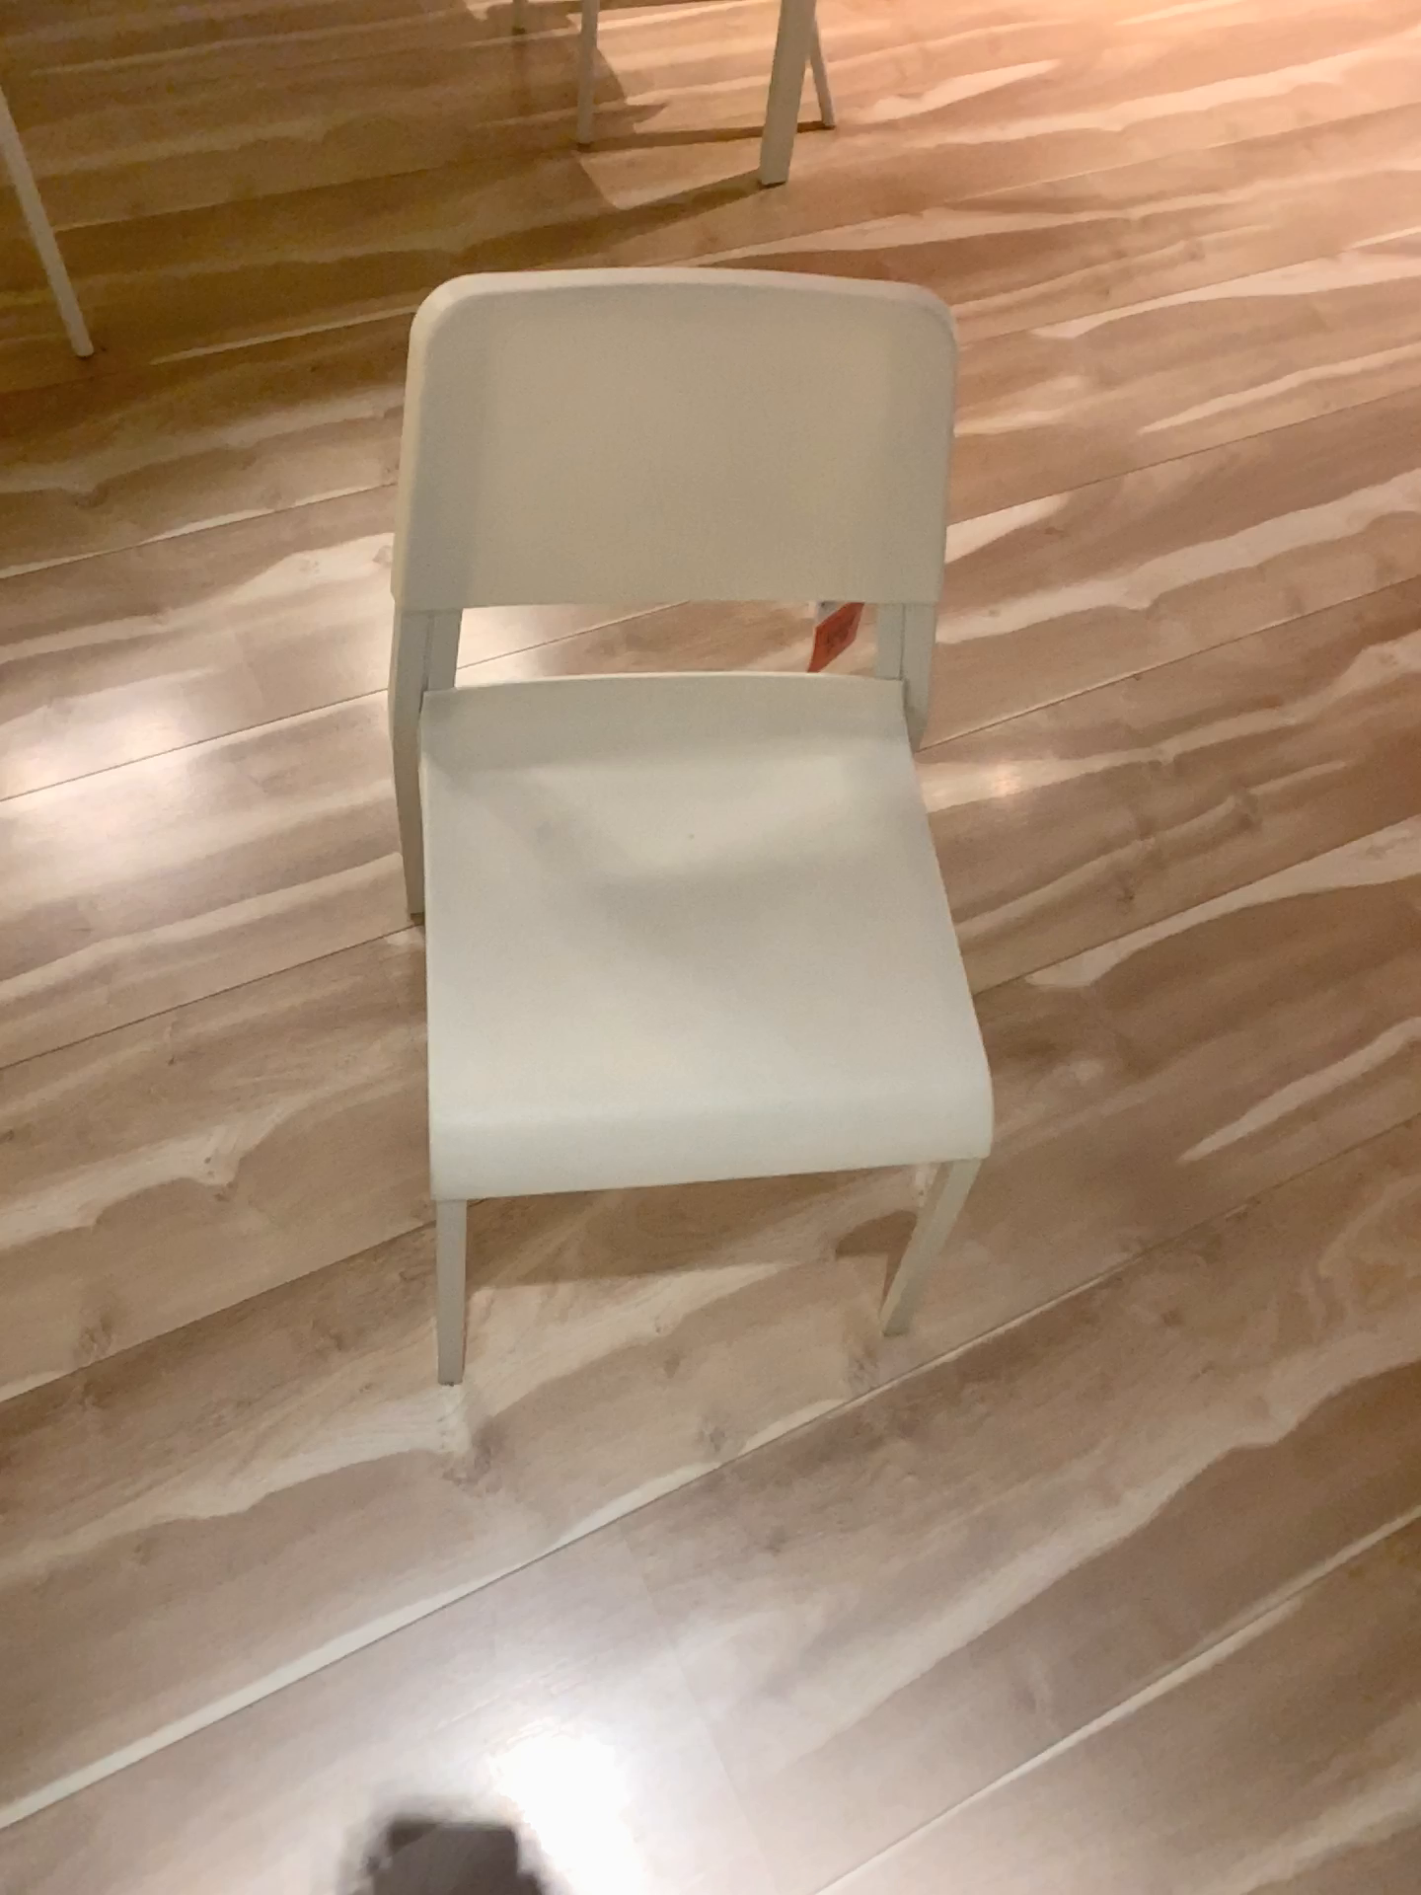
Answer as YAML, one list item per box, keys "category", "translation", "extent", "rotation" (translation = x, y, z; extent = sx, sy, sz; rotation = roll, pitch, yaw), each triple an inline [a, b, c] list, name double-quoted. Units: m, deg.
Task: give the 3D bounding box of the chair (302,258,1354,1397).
- category: "chair"
  translation: [-0.004, -0.042, 1.129]
  extent: [0.520, 0.709, 0.551]
  rotation: [-4, 60, -9]
